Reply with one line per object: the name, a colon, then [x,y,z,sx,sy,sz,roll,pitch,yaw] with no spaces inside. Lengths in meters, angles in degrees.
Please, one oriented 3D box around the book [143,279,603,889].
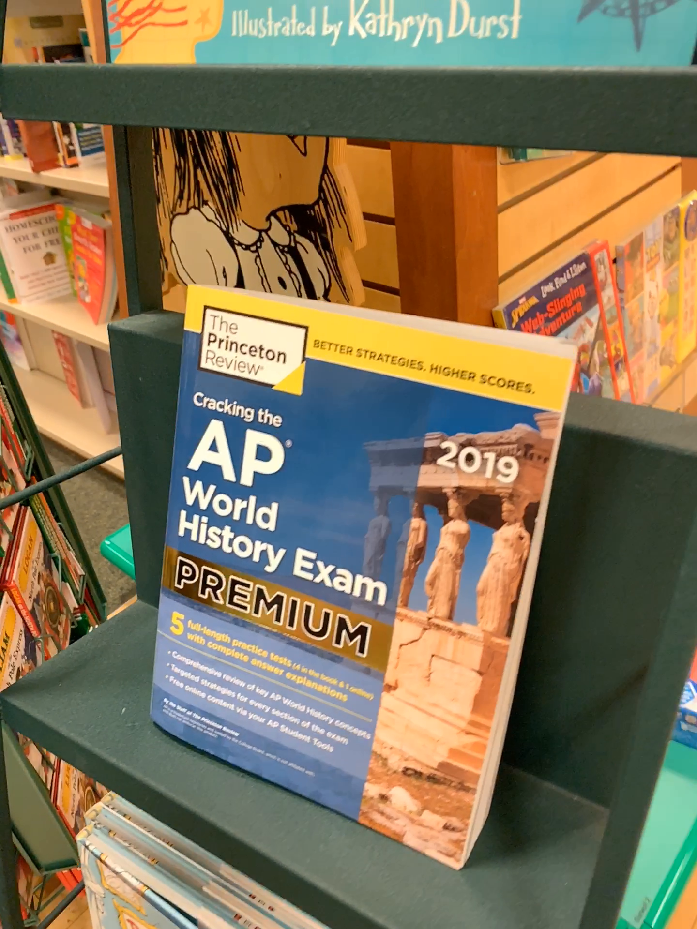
book: [-0.004,0.050,0.391,0.215,0.269,0.057,14,15,26]
